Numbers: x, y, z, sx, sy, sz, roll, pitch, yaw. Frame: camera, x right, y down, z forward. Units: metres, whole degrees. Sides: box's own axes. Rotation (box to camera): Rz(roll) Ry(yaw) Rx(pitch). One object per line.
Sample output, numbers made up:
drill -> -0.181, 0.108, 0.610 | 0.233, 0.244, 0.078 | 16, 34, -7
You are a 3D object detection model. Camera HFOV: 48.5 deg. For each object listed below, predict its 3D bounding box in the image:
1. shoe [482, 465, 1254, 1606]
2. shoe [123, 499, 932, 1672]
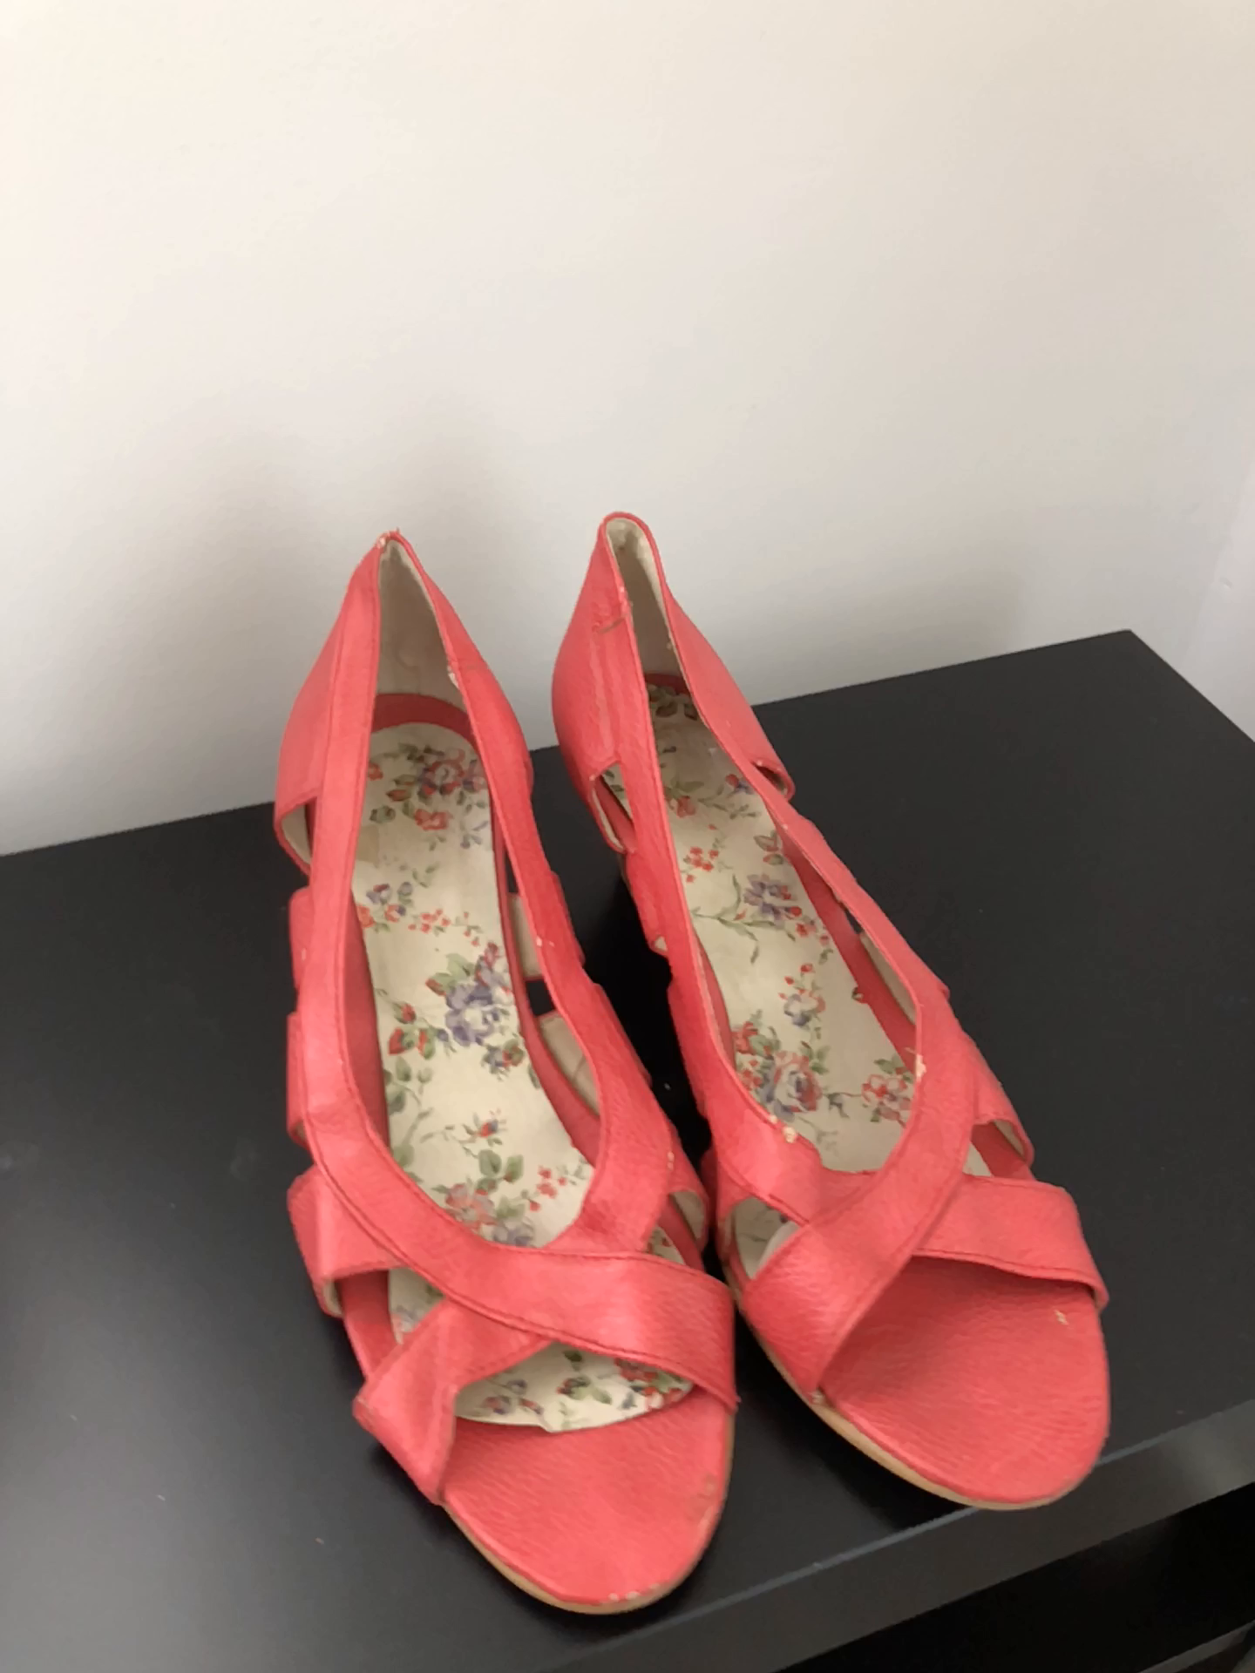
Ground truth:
shoe -> 0.039, 0.020, 0.308 | 0.077, 0.100, 0.231 | -13, 43, -16
shoe -> -0.039, 0.032, 0.290 | 0.087, 0.100, 0.221 | -13, 43, -16
